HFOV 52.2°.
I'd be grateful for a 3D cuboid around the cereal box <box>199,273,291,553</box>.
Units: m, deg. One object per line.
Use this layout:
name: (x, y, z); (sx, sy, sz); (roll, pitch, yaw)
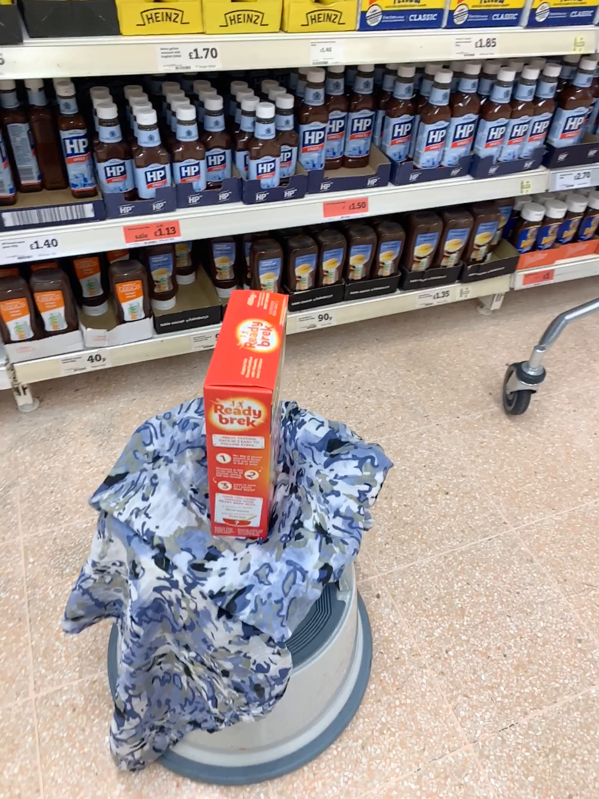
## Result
cereal box: (-0.052, 0.018, 0.645); (0.060, 0.238, 0.172); (5, 43, 1)
